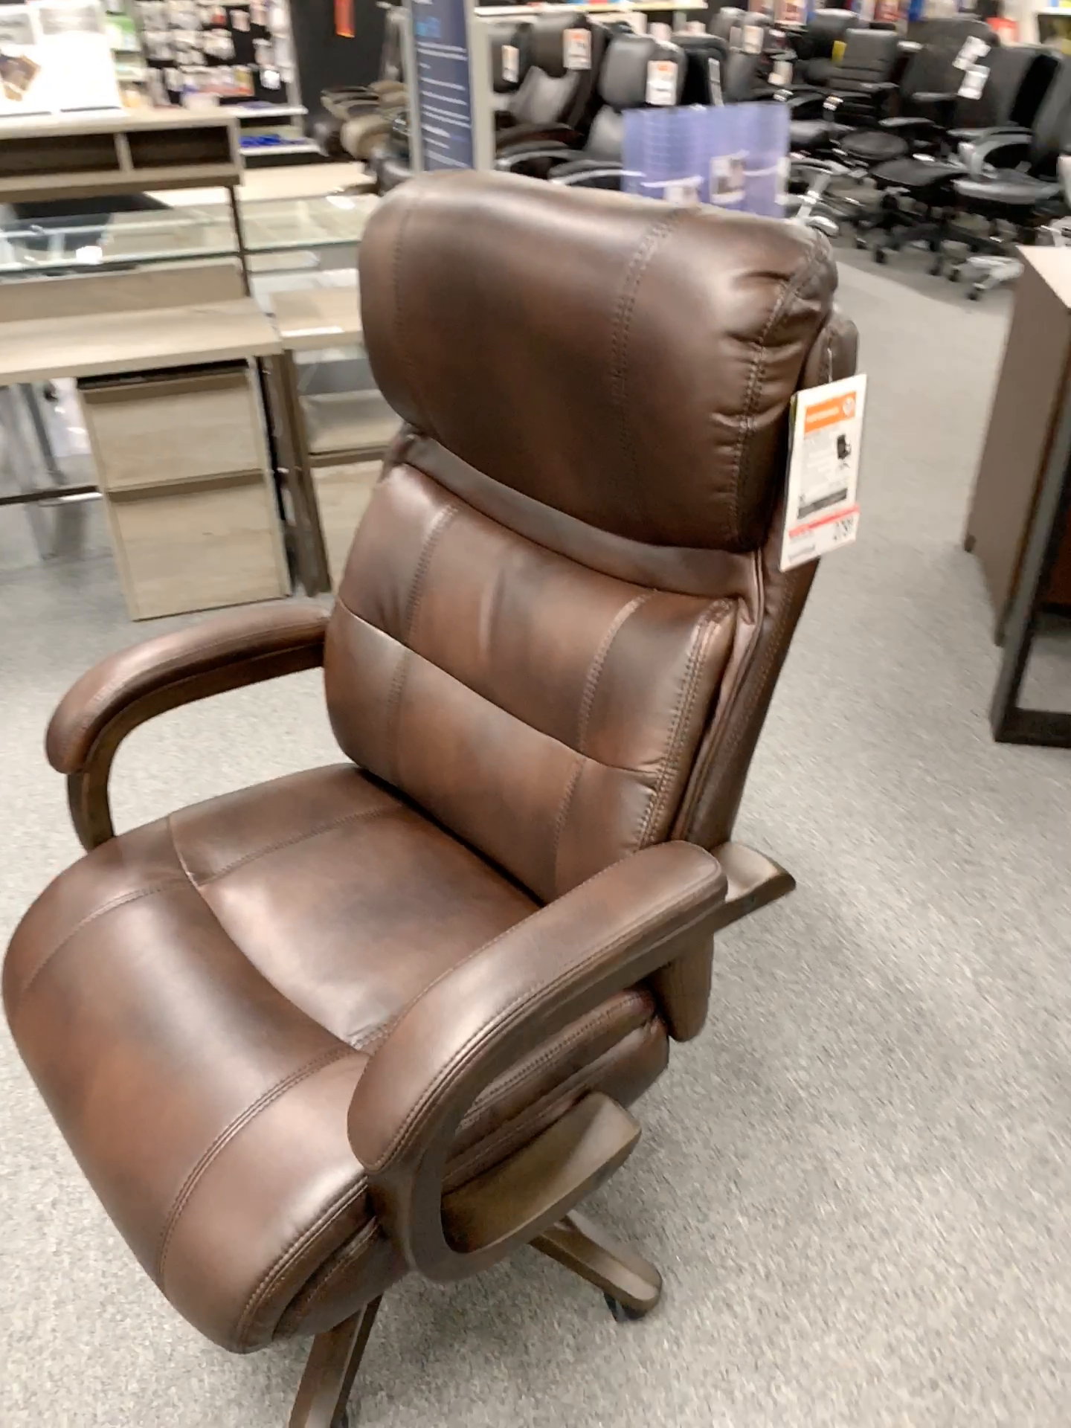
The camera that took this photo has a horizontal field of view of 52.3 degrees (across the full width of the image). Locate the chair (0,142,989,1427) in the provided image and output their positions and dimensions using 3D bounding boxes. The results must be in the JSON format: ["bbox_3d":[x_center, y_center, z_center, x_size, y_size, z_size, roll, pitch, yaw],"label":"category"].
[{"bbox_3d":[-0.171,0.101,1.096,0.701,1.094,0.713,-27,41,-33],"label":"chair"}]
